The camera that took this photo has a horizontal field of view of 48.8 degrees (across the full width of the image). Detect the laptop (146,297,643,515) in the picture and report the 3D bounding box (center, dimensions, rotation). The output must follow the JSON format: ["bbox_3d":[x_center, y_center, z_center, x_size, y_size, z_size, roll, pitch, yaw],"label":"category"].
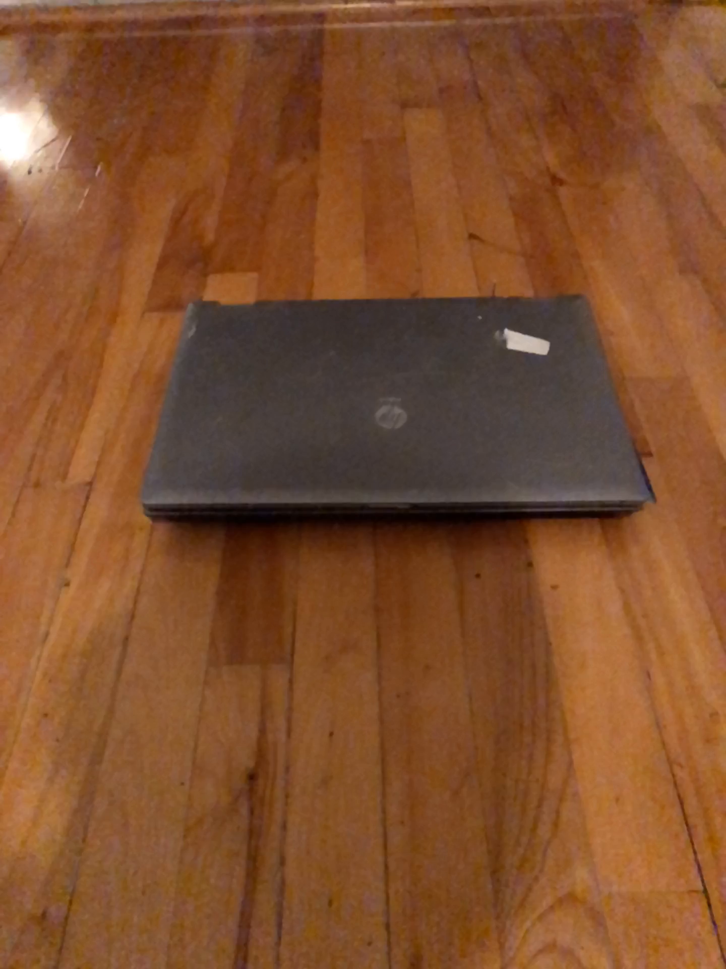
[{"bbox_3d":[0.023,-0.075,0.667,0.362,0.010,0.242,-1,49,1],"label":"laptop"}]
